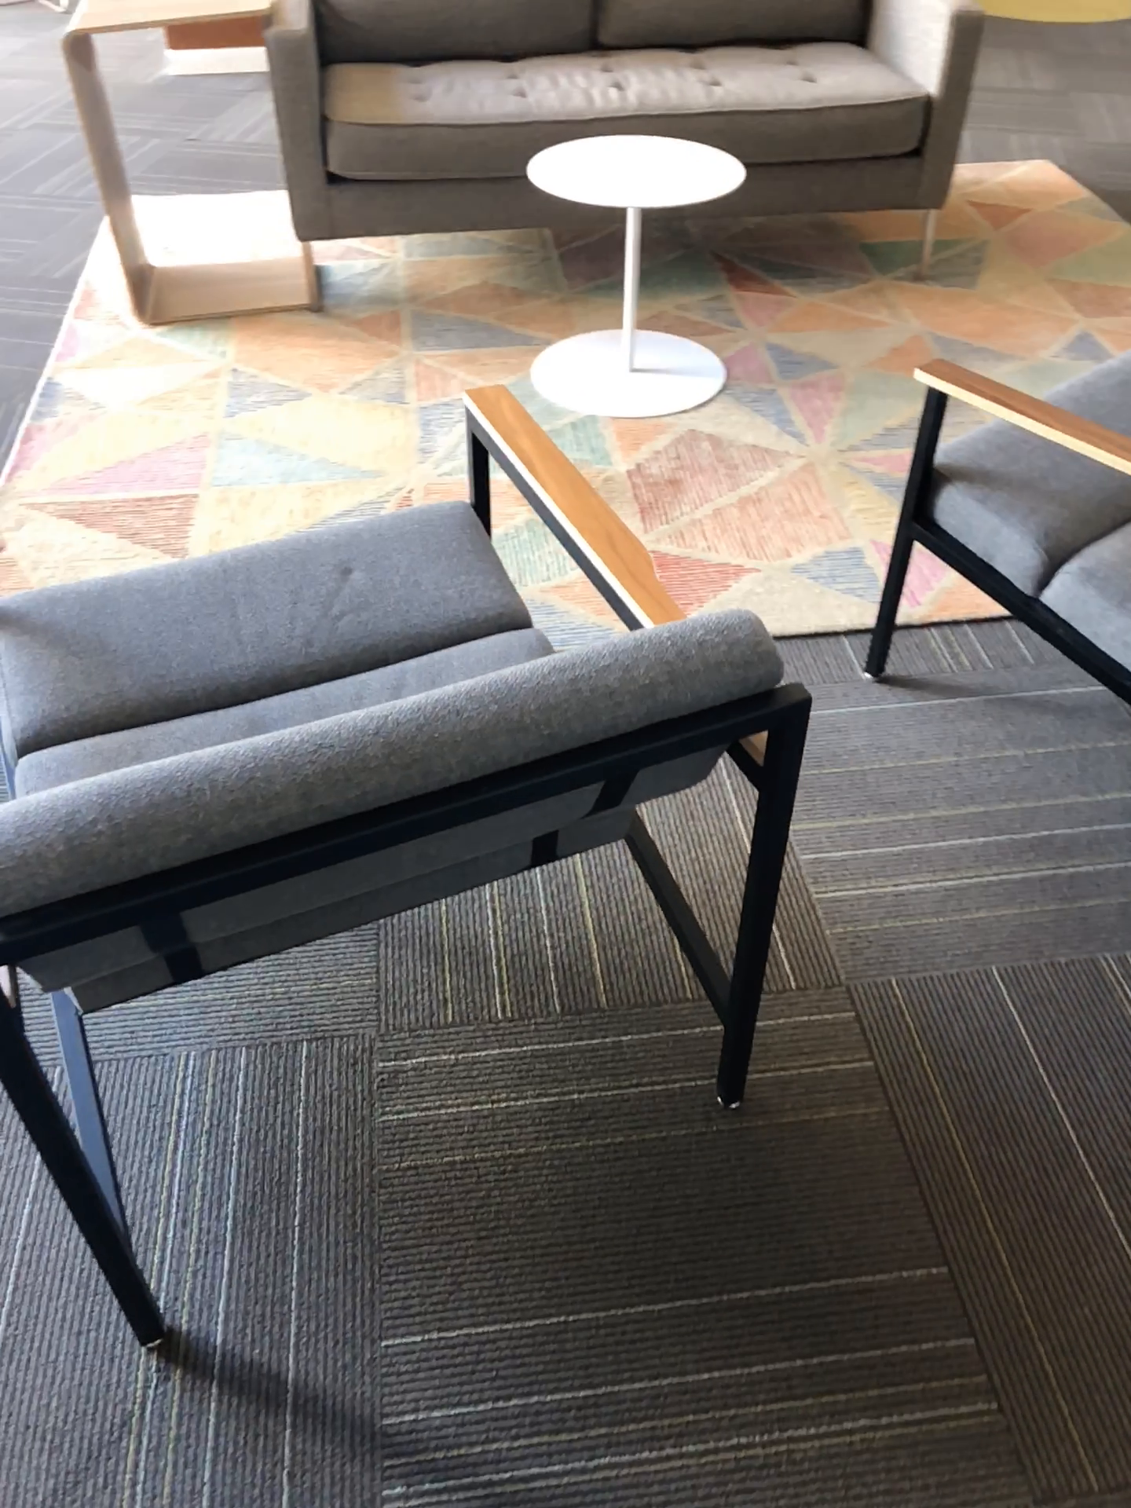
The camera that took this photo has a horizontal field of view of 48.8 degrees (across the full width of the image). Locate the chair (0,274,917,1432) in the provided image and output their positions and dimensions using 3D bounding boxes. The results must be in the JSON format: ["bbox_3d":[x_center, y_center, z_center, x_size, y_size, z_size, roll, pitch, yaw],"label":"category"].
[{"bbox_3d":[-0.263,0.008,1.428,0.790,0.697,0.924,-17,42,-18],"label":"chair"}]
